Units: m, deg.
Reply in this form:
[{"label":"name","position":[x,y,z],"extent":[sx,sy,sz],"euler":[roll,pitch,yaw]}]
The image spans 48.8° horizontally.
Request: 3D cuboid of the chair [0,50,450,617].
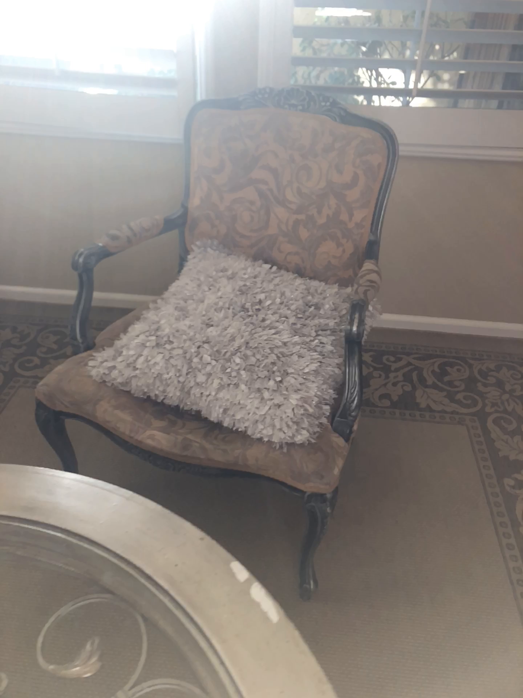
[{"label":"chair","position":[-0.094,-0.081,1.342],"extent":[0.760,0.972,0.656],"euler":[14,36,18]}]
